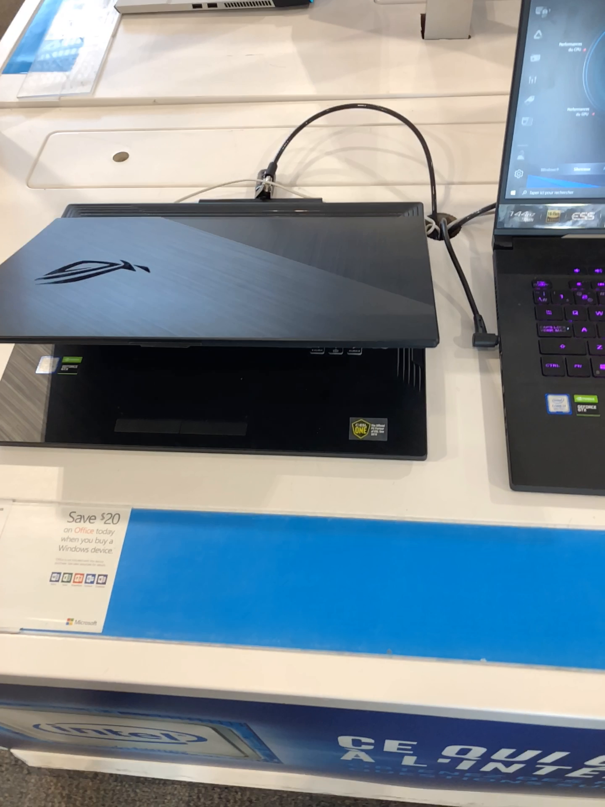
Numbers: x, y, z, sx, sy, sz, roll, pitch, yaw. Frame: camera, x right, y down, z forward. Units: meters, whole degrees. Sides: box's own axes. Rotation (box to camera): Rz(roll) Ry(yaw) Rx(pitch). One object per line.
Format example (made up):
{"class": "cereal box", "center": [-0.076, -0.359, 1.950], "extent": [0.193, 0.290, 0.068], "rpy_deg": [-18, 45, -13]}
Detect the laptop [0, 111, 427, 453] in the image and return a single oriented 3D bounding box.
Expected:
{"class": "laptop", "center": [-0.073, -0.103, 0.537], "extent": [0.331, 0.097, 0.263], "rpy_deg": [1, 58, 9]}
